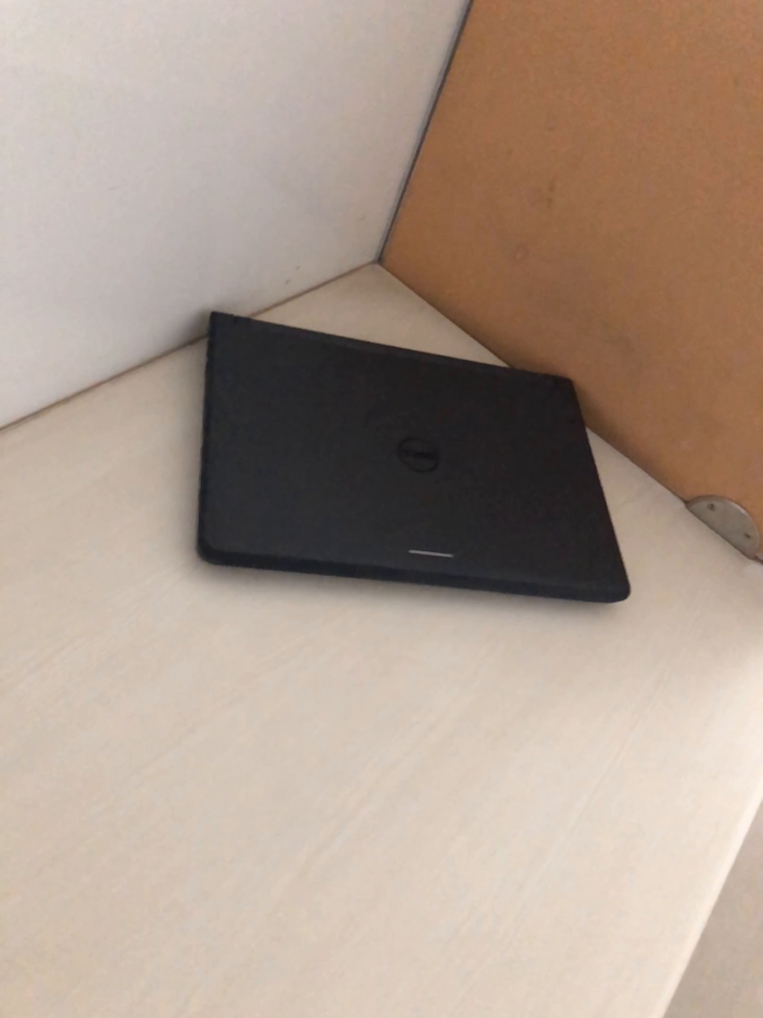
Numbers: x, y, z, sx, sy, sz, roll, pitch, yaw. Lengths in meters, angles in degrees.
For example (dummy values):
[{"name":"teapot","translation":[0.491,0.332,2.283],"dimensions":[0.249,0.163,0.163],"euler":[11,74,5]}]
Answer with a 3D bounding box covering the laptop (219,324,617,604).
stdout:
[{"name":"laptop","translation":[0.021,-0.039,0.653],"dimensions":[0.291,0.007,0.228],"euler":[7,50,-16]}]
